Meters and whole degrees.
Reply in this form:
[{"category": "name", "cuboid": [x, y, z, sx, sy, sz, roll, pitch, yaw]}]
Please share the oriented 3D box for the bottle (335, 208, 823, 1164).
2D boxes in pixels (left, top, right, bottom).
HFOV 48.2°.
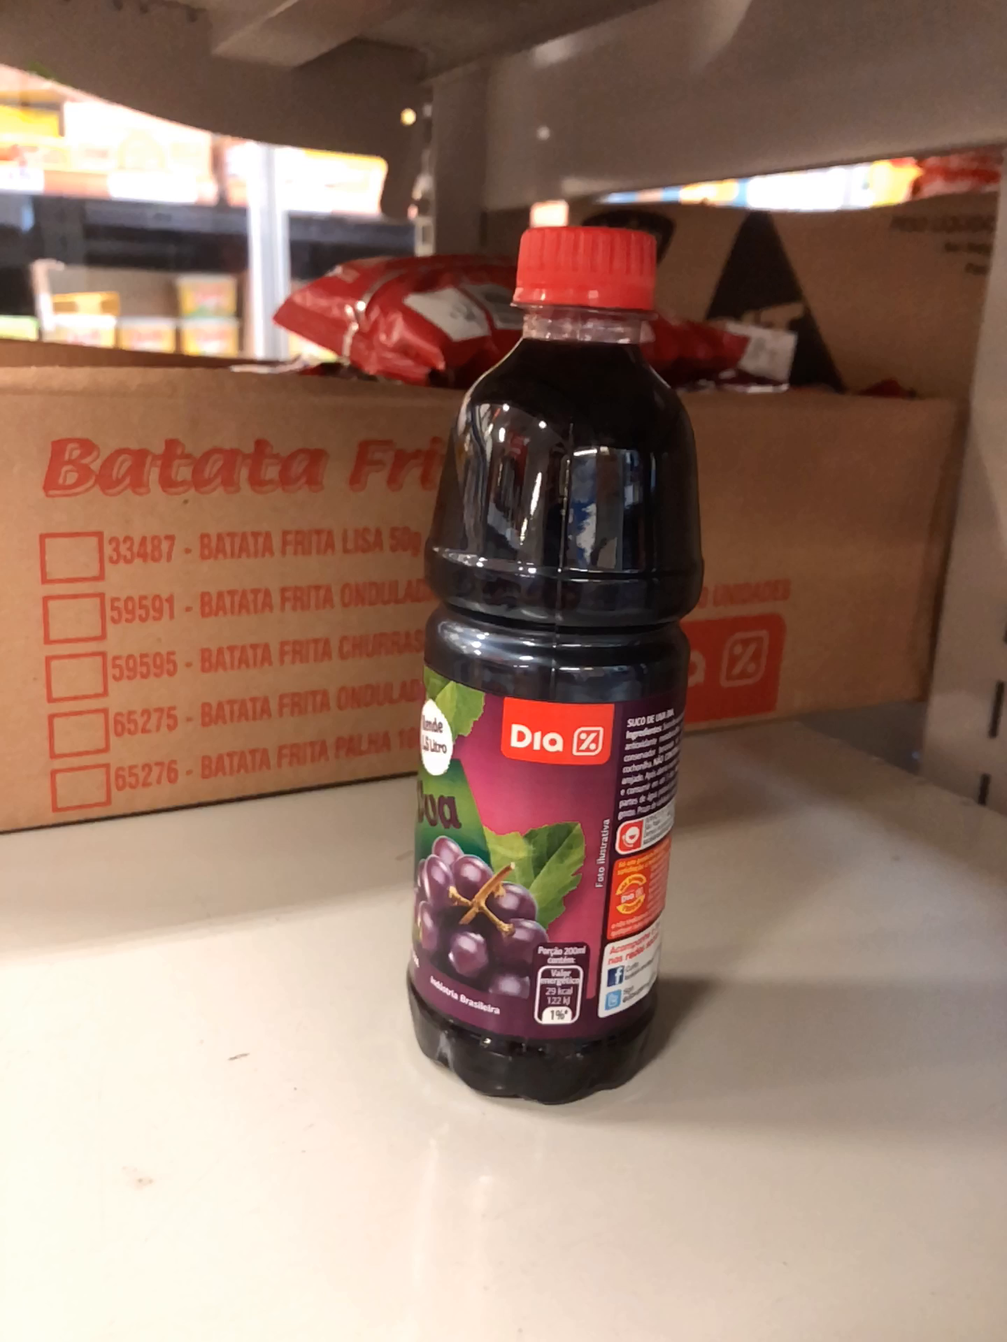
[{"category": "bottle", "cuboid": [0.014, -0.001, 0.274, 0.070, 0.199, 0.080, -14, 23, -40]}]
